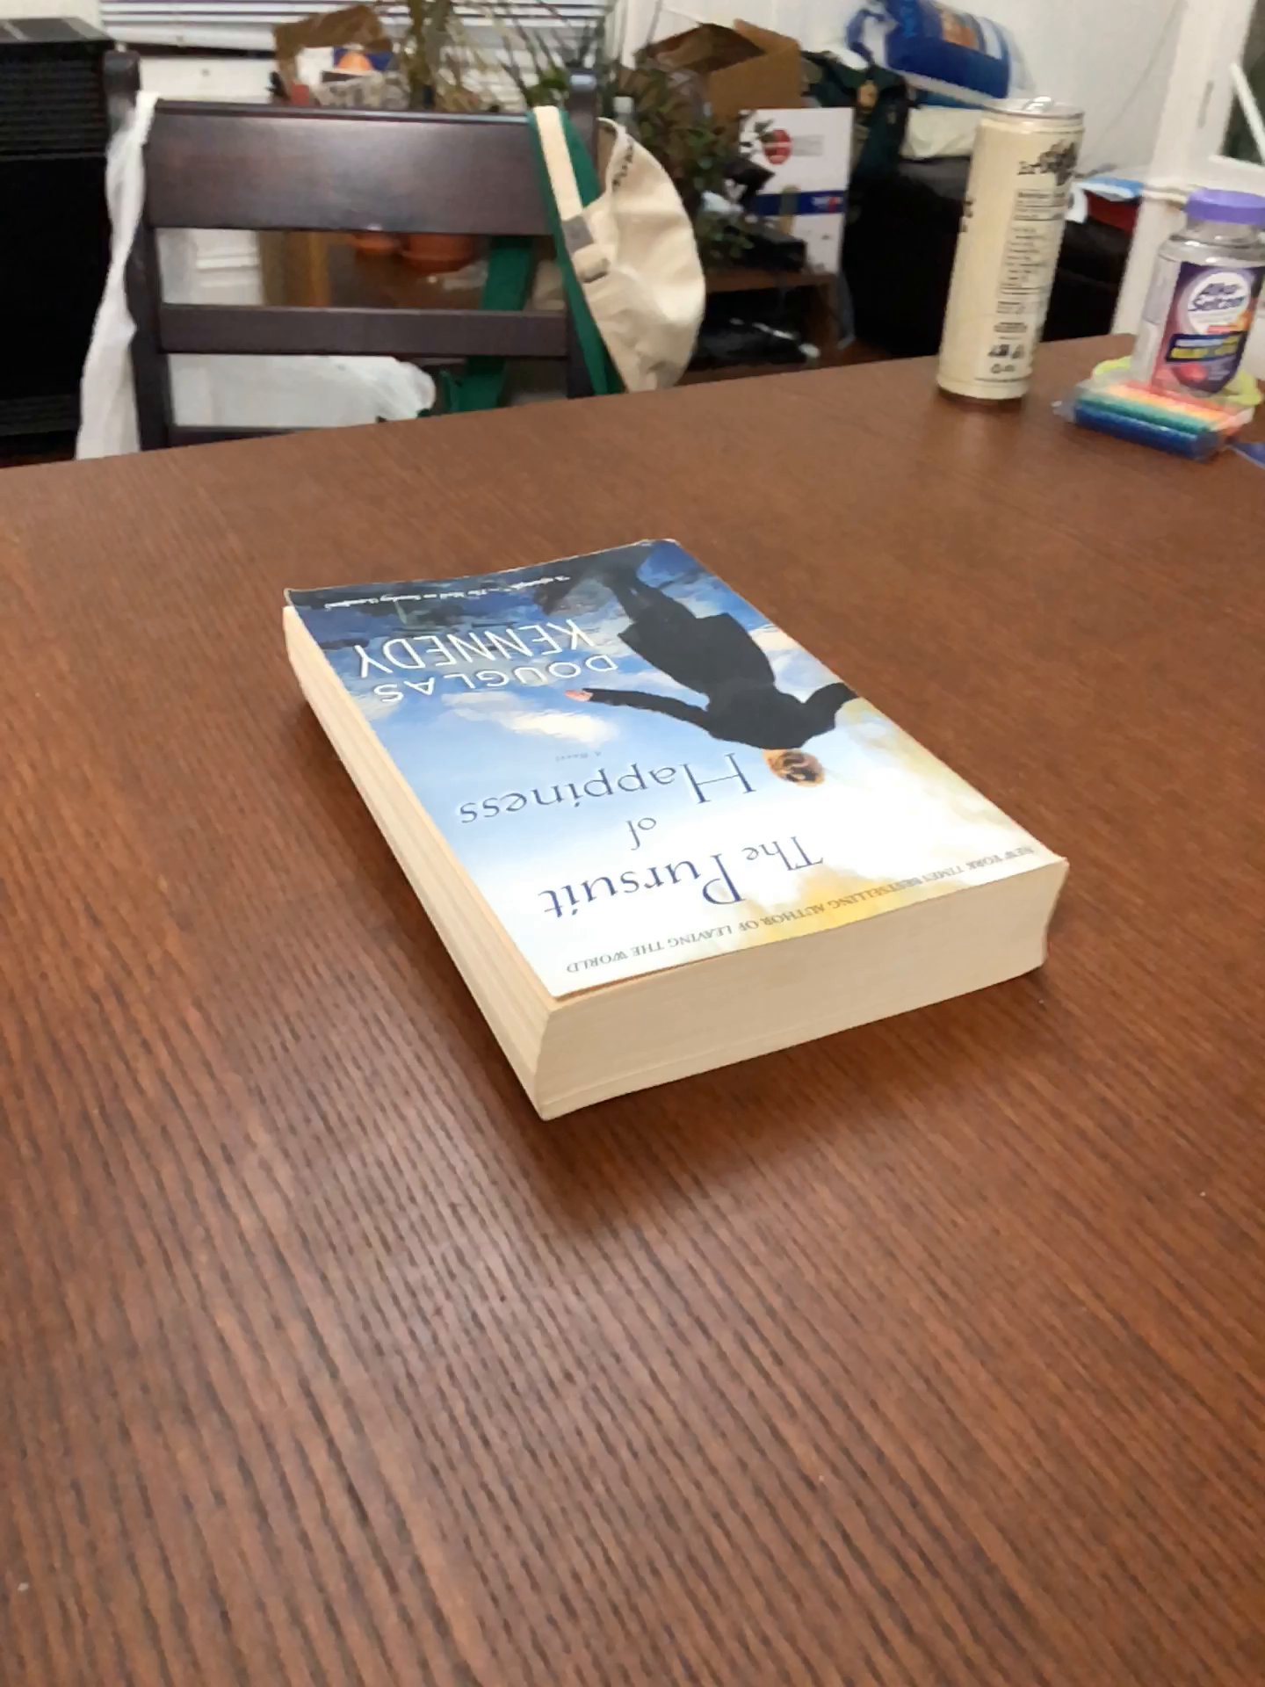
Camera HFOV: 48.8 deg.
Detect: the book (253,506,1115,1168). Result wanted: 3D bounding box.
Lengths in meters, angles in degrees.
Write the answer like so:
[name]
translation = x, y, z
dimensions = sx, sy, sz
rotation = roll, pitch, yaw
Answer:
[book]
translation = -0.004, -0.027, 0.422
dimensions = 0.160, 0.050, 0.241
rotation = -13, 37, -22
